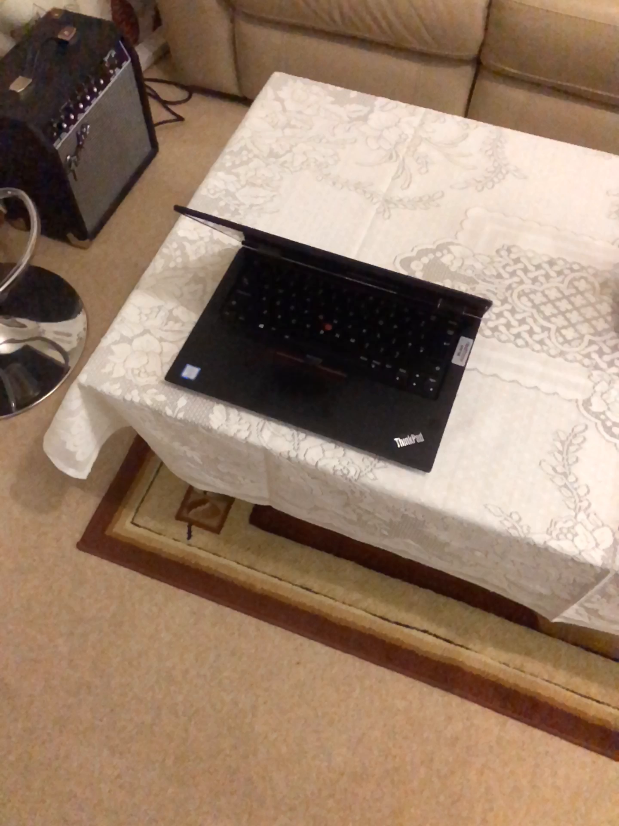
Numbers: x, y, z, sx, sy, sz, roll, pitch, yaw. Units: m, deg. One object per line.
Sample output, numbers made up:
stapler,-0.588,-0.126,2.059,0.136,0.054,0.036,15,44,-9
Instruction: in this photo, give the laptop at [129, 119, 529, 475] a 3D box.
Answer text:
laptop,0.022,-0.120,0.693,0.309,0.174,0.220,19,63,11
